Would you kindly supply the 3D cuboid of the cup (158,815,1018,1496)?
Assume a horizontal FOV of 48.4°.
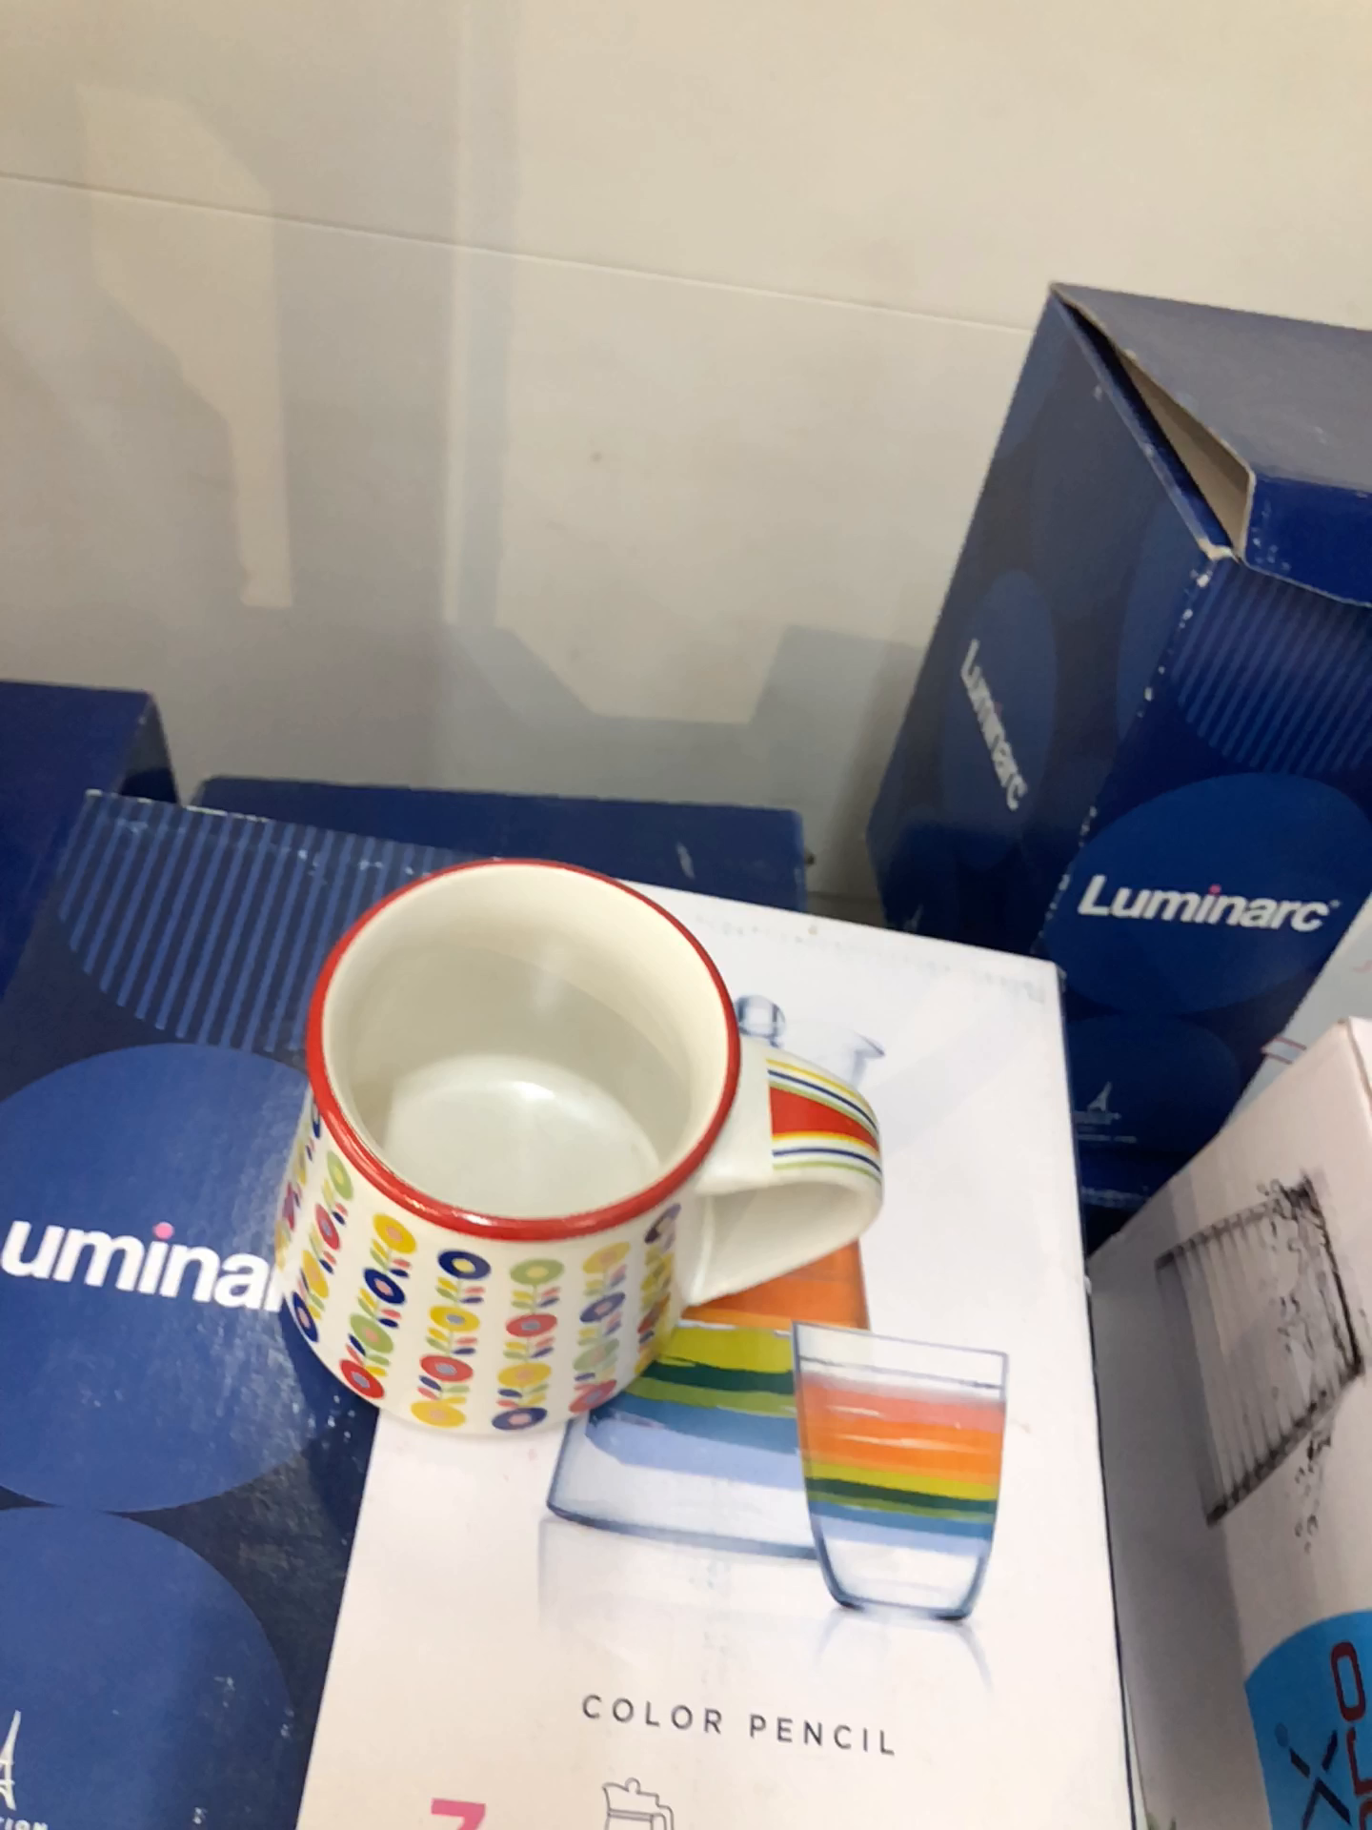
[{"bbox_3d":[-0.017,0.049,0.289,0.130,0.090,0.080,8,53,-4],"label":"cup"}]
